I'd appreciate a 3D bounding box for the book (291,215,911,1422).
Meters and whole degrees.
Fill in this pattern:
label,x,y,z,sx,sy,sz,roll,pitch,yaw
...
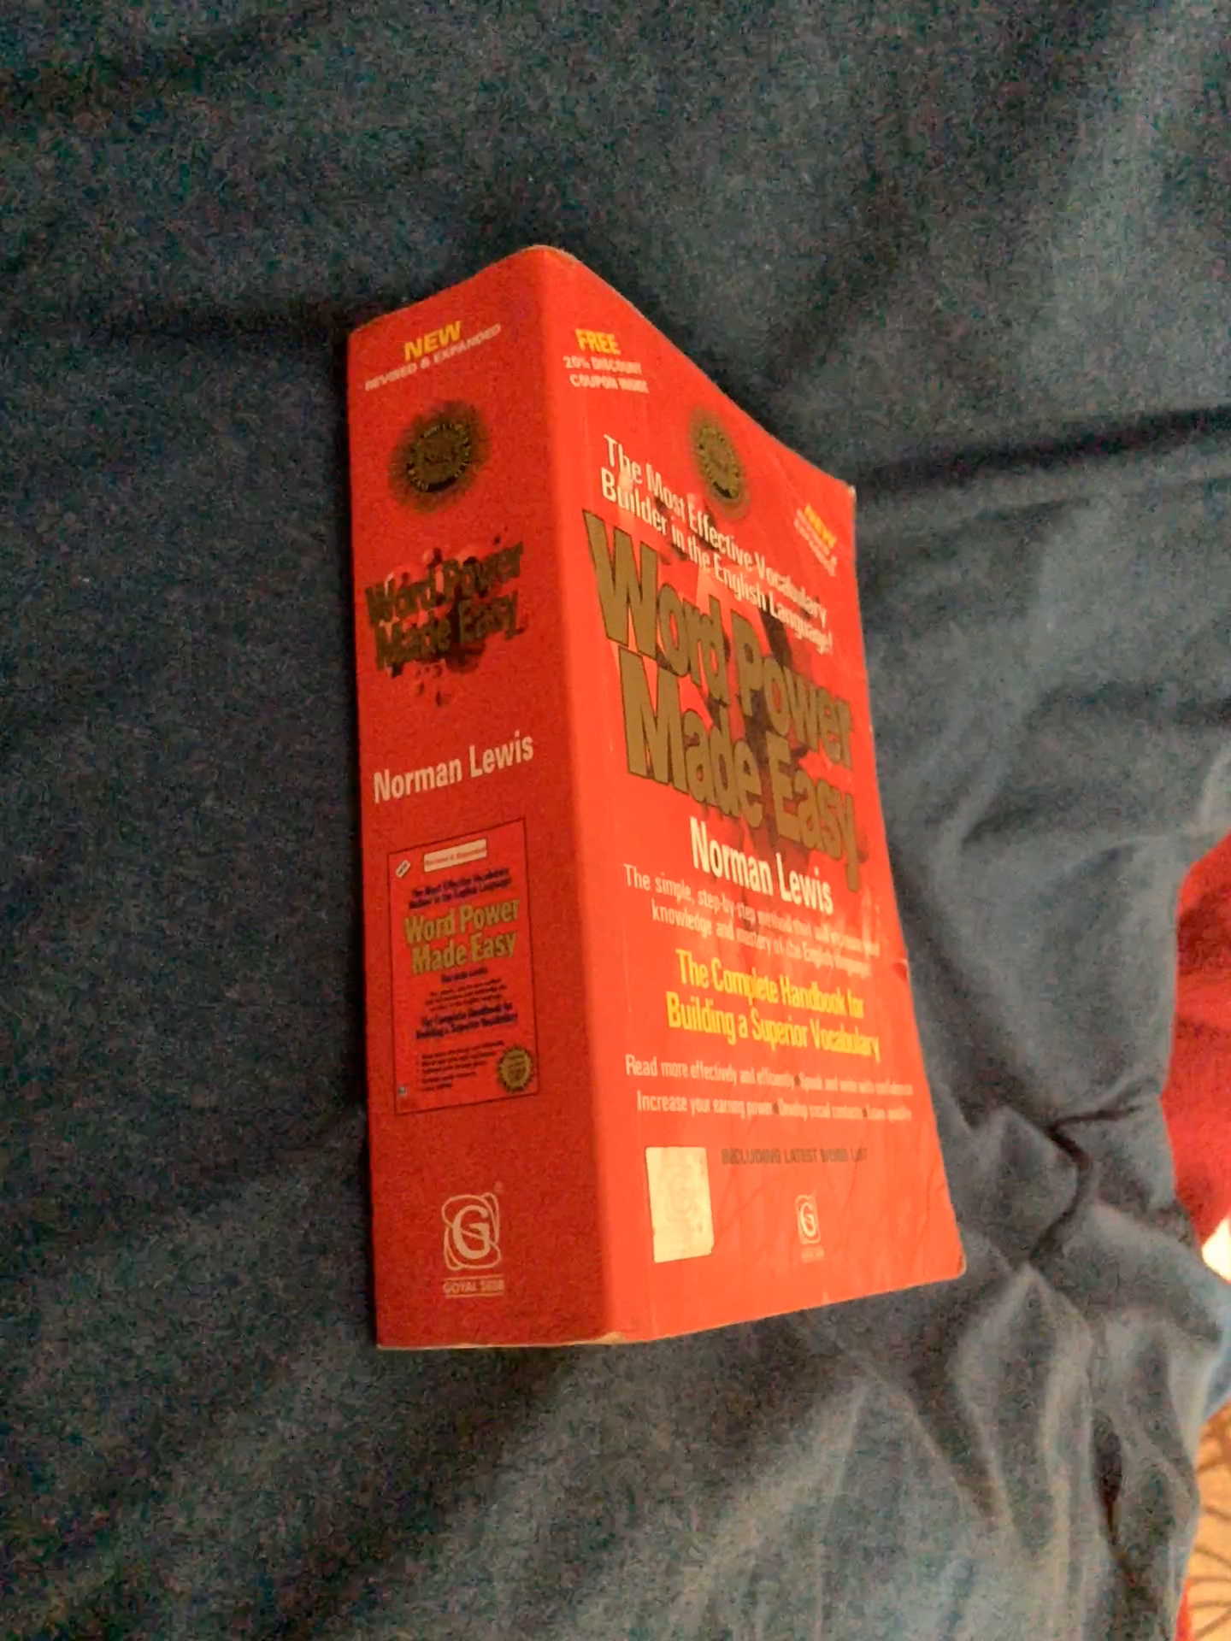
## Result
label,x,y,z,sx,sy,sz,roll,pitch,yaw
book,0.006,0.006,0.253,0.121,0.050,0.190,26,58,-53
